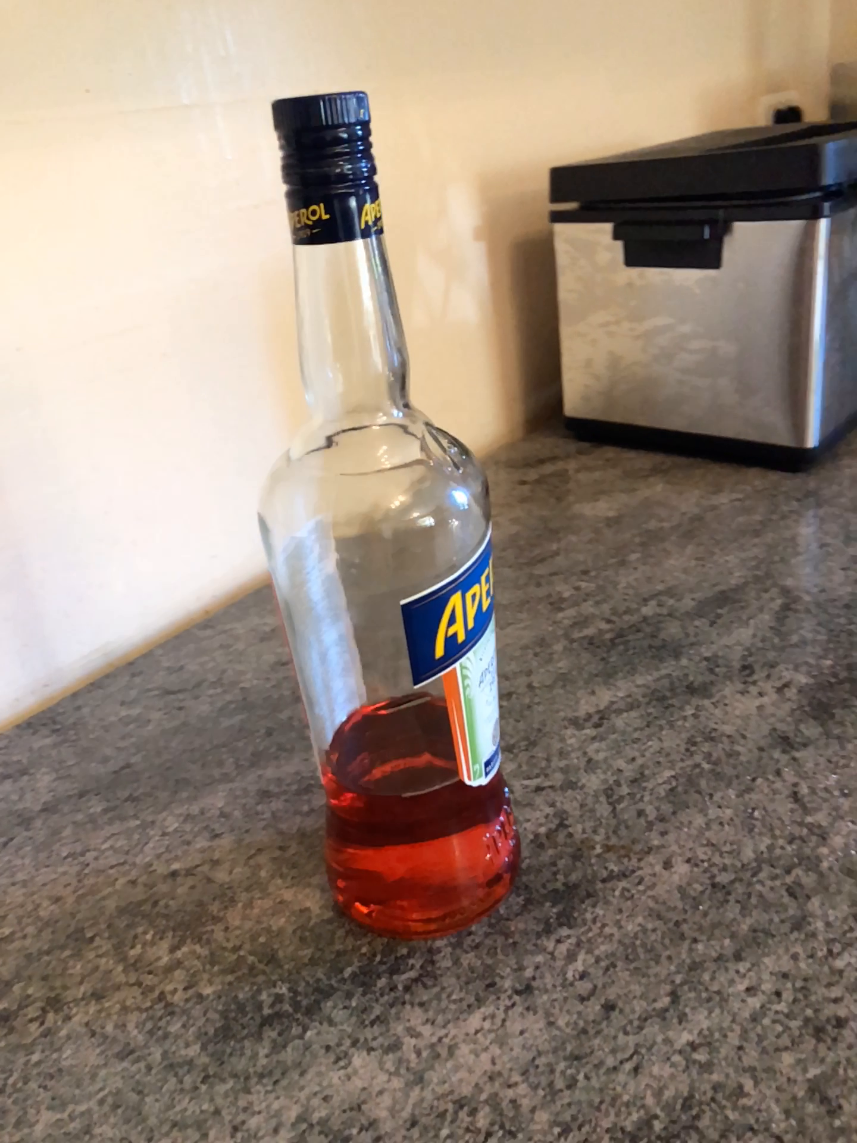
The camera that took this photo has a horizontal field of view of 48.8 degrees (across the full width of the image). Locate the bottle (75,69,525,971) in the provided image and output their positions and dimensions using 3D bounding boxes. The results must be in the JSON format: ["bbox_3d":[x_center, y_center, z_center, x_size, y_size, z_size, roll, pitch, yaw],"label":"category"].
[{"bbox_3d":[-0.028,-0.006,0.370,0.090,0.328,0.091,-6,25,3],"label":"bottle"}]
